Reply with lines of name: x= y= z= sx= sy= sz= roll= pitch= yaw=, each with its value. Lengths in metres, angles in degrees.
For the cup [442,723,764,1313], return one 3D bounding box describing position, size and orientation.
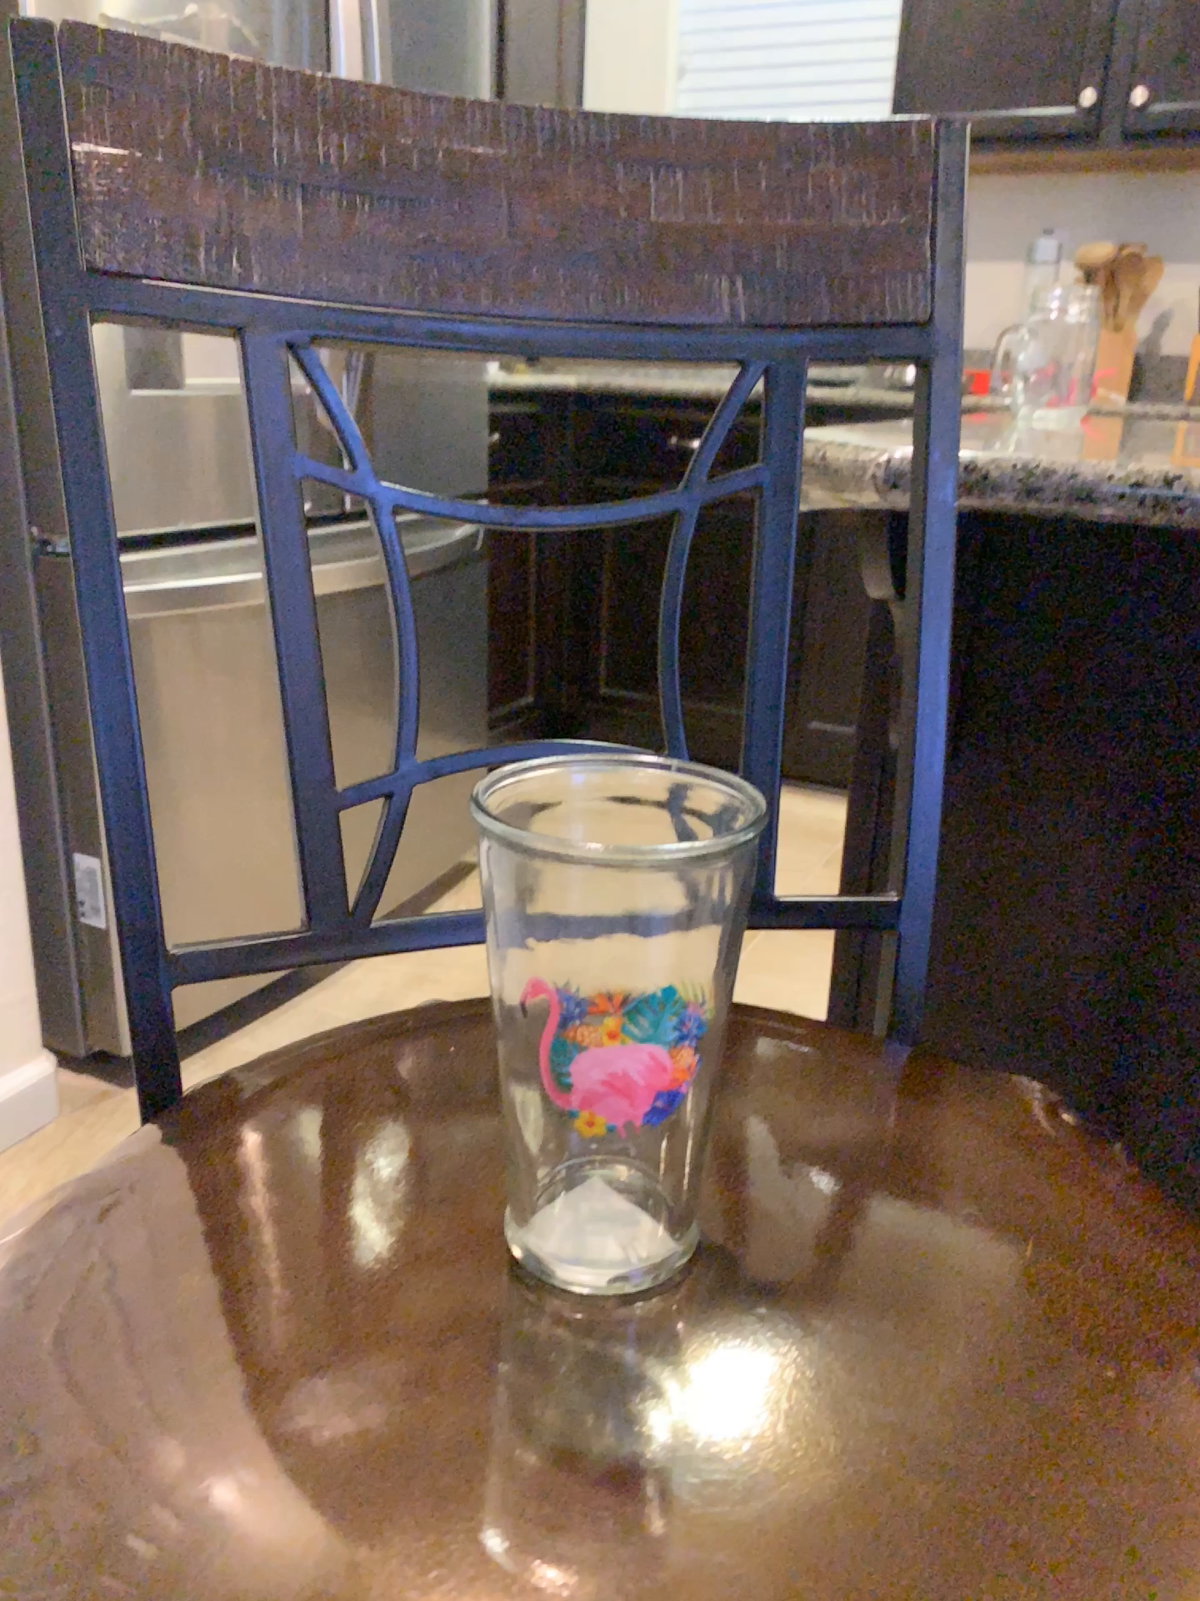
cup: x=-0.002 y=0.062 z=0.370 sx=0.080 sy=0.149 sz=0.081 roll=2 pitch=19 yaw=-1
